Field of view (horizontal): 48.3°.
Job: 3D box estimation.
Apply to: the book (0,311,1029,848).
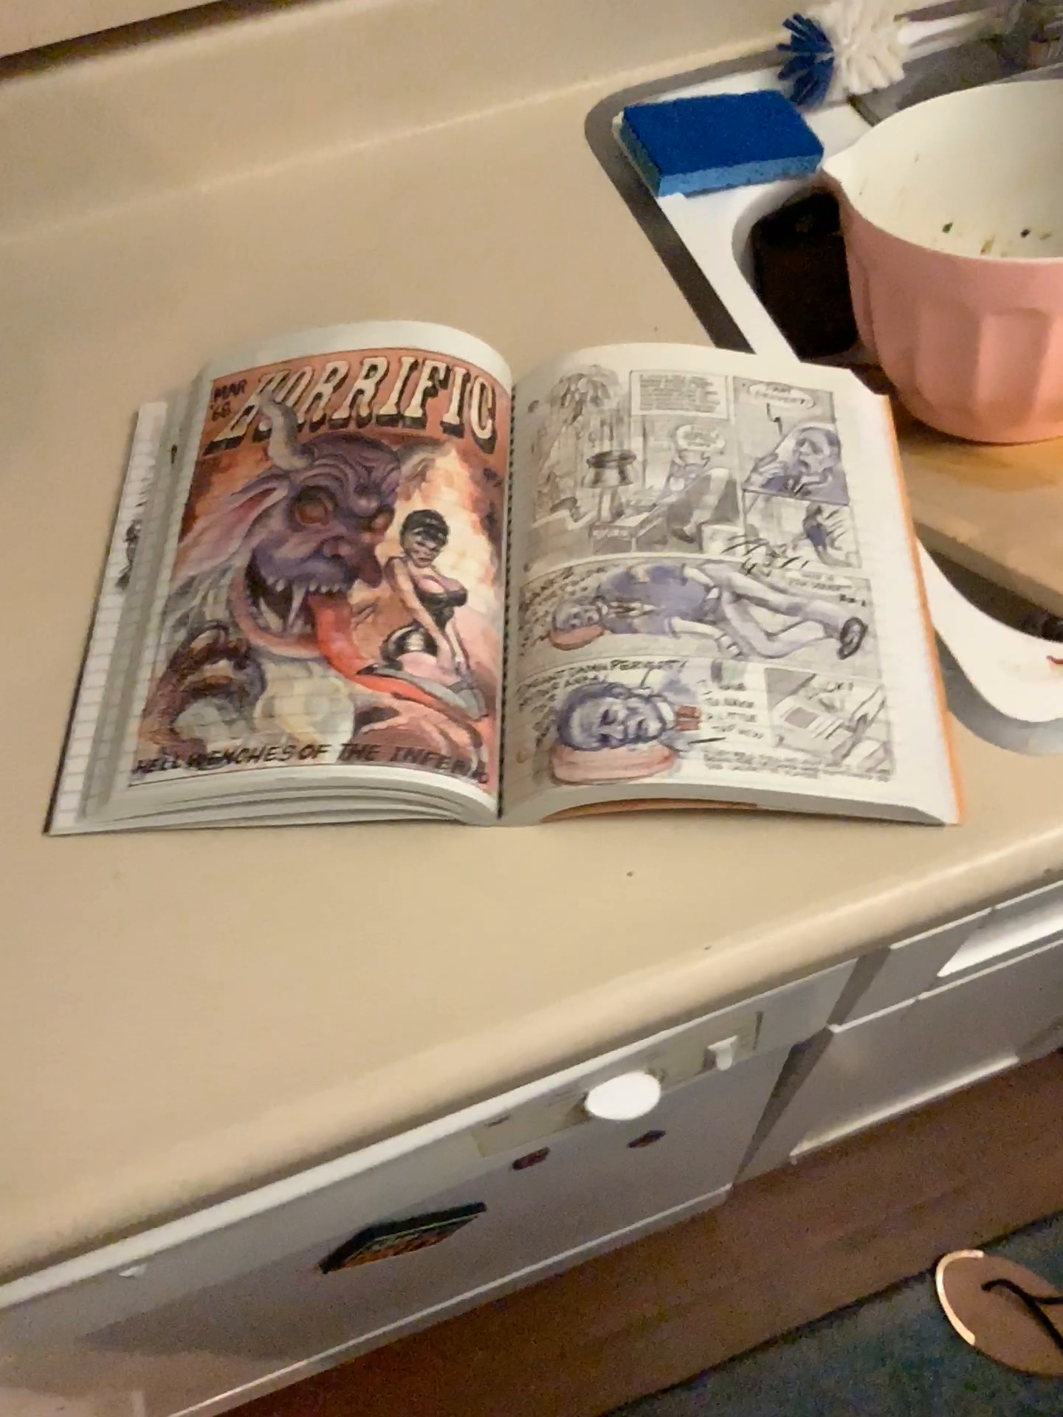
[{"bbox_3d":[-0.011,-0.072,0.582,0.430,0.050,0.280,-1,60,2],"label":"book"}]
